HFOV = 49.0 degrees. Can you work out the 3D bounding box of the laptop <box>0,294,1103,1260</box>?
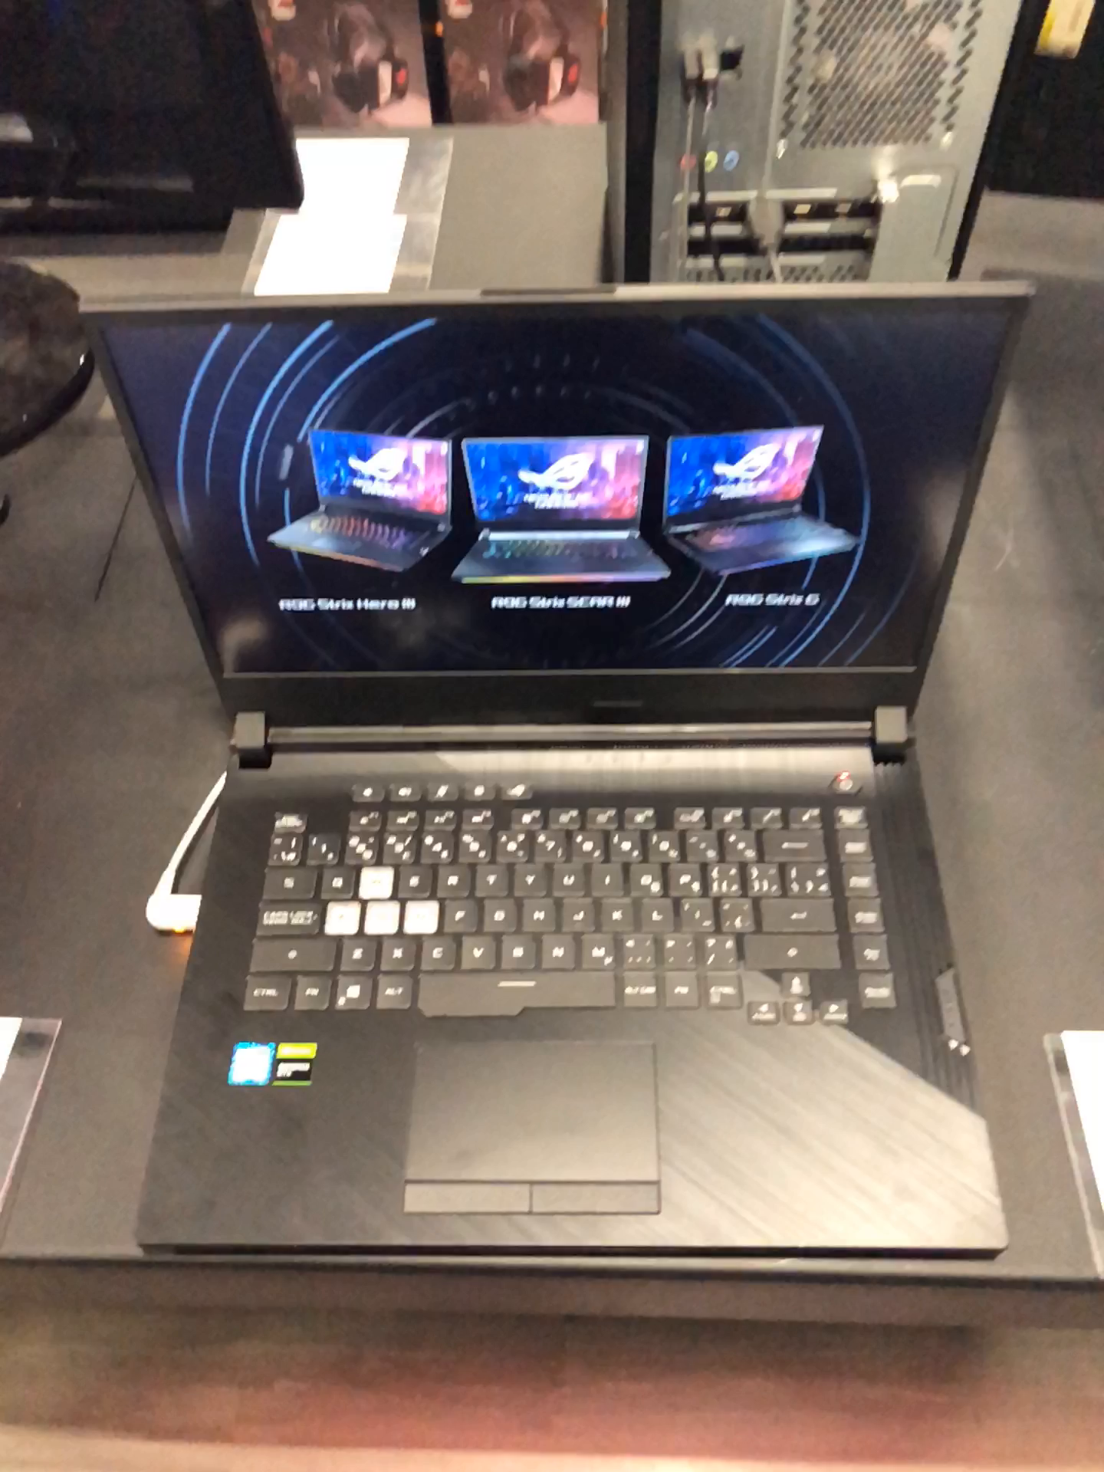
[{"bbox_3d":[0.001,0.023,0.466,0.349,0.243,0.281,0,55,2],"label":"laptop"}]
